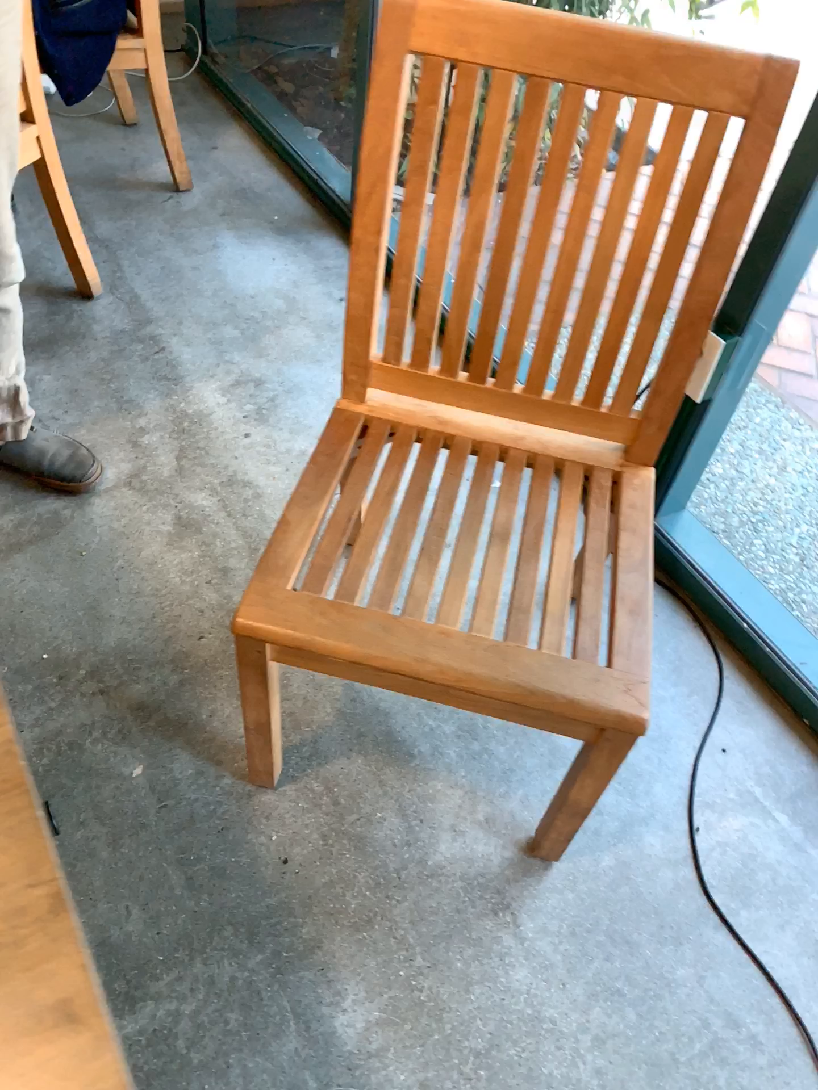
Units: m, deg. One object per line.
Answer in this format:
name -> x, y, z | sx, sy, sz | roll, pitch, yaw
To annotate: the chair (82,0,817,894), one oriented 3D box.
chair -> 0.072, -0.086, 1.066 | 0.530, 0.915, 0.613 | 14, 49, 5
